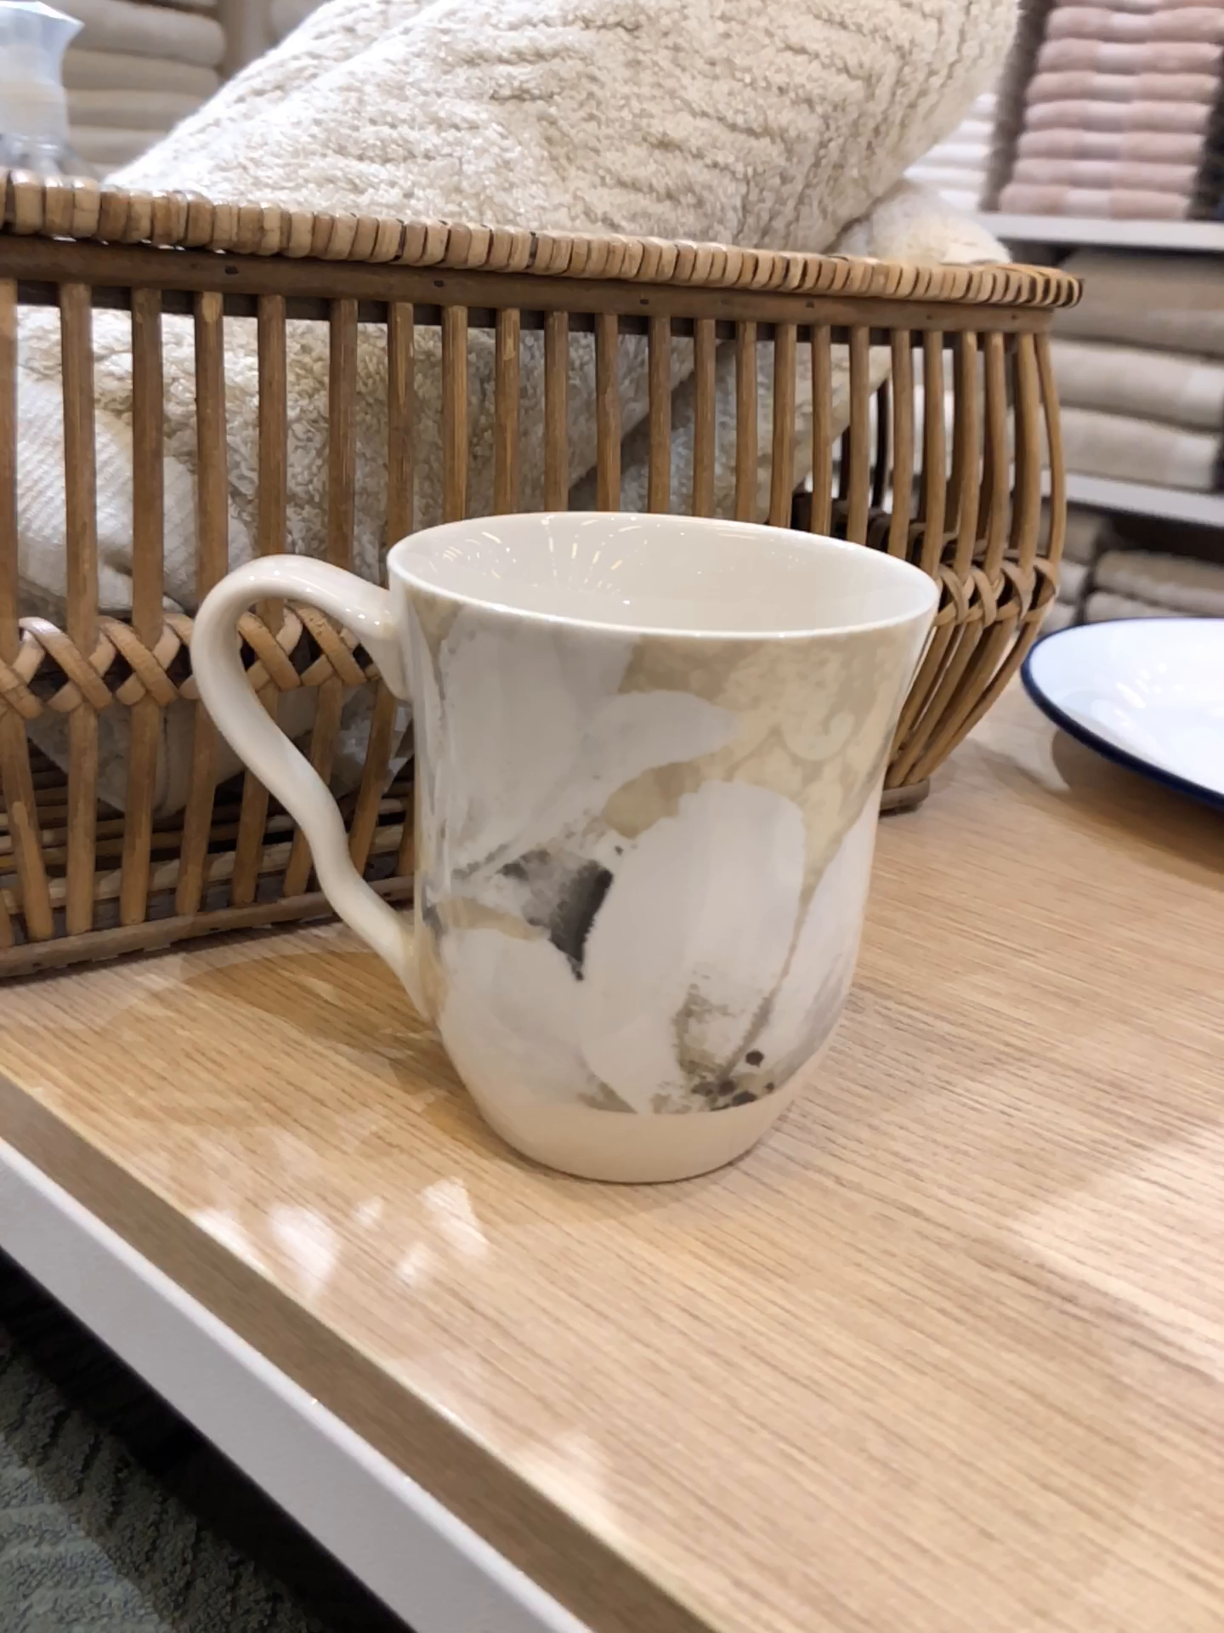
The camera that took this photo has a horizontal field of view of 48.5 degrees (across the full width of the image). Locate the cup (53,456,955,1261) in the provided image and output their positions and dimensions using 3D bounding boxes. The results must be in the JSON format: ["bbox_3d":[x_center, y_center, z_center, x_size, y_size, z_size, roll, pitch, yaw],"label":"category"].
[{"bbox_3d":[-0.012,-0.003,0.247,0.130,0.099,0.091,9,22,11],"label":"cup"}]
